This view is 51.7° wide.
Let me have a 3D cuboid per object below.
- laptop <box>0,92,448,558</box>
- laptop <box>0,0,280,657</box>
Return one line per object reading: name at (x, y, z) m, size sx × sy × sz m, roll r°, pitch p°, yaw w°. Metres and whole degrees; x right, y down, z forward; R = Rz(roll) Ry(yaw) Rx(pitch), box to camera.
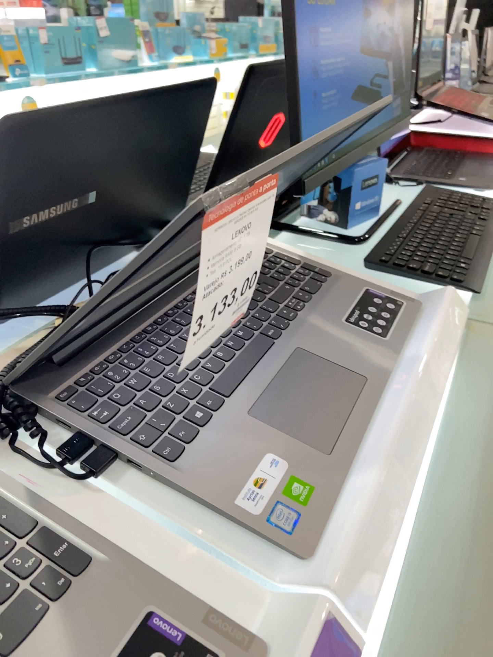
laptop at (0.012, -0.063, 0.438) m, size 0.241 × 0.163 × 0.361 m, roll 21°, pitch 36°, yaw 18°
laptop at (-0.228, 0.073, 0.120) m, size 0.351 × 0.224 × 0.348 m, roll 20°, pitch 33°, yaw 17°
